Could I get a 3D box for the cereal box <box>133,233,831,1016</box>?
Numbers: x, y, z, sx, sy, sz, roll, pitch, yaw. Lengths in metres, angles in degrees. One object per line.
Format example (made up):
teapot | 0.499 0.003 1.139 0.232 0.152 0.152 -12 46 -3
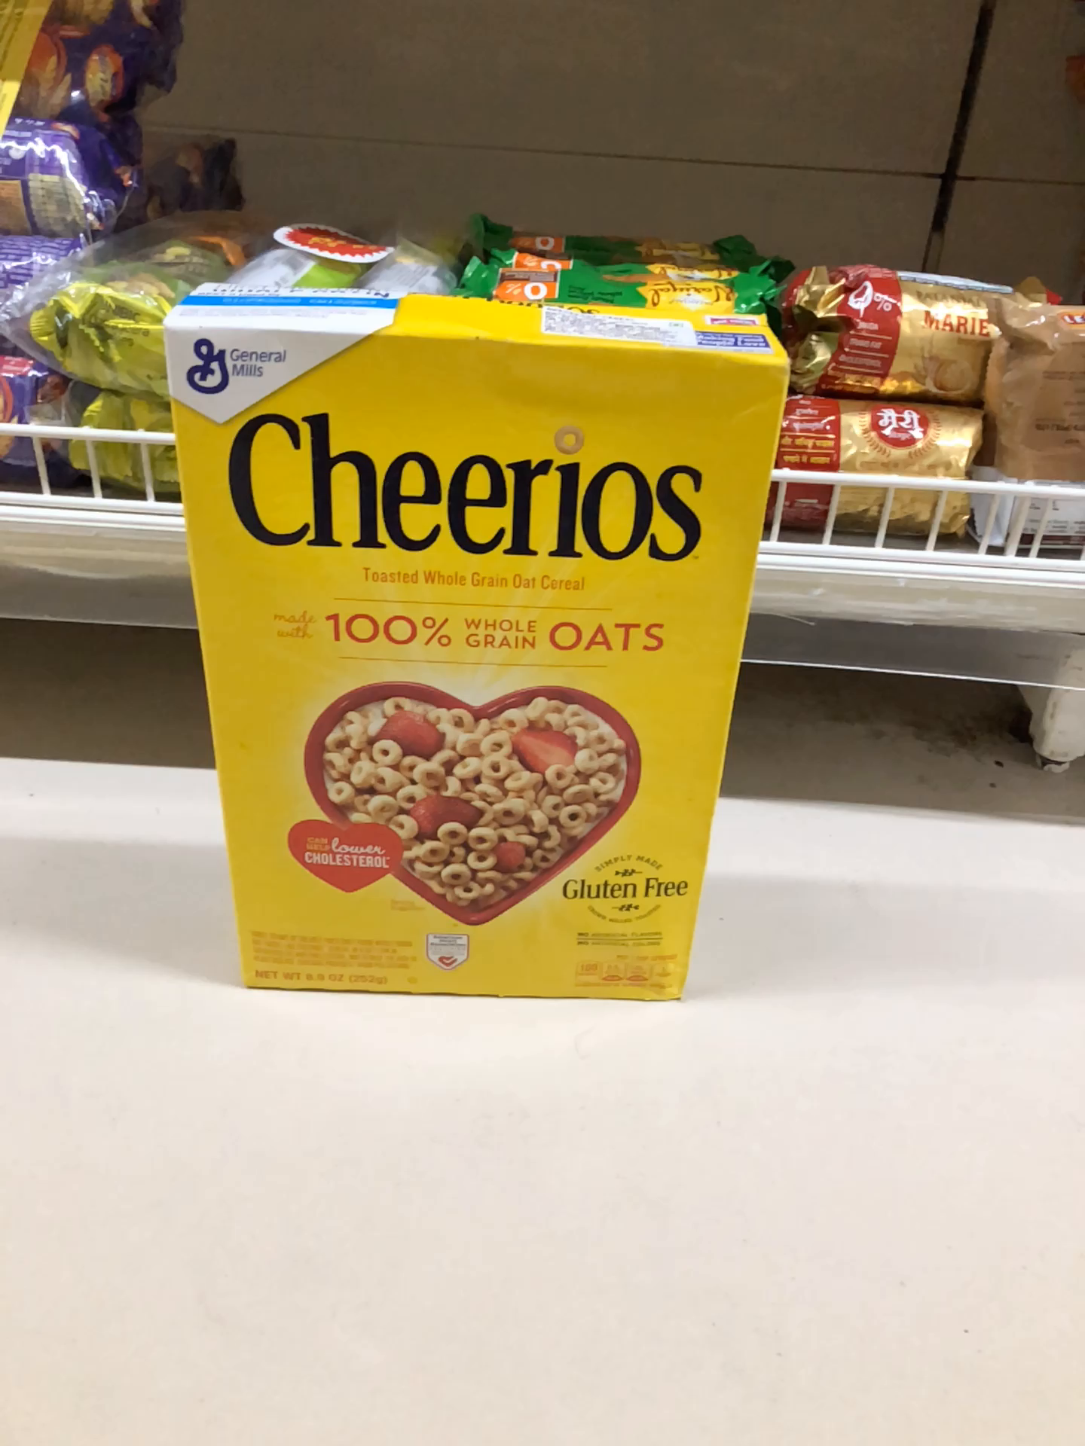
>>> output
cereal box | -0.024 -0.018 0.447 0.200 0.288 0.060 3 33 -2
